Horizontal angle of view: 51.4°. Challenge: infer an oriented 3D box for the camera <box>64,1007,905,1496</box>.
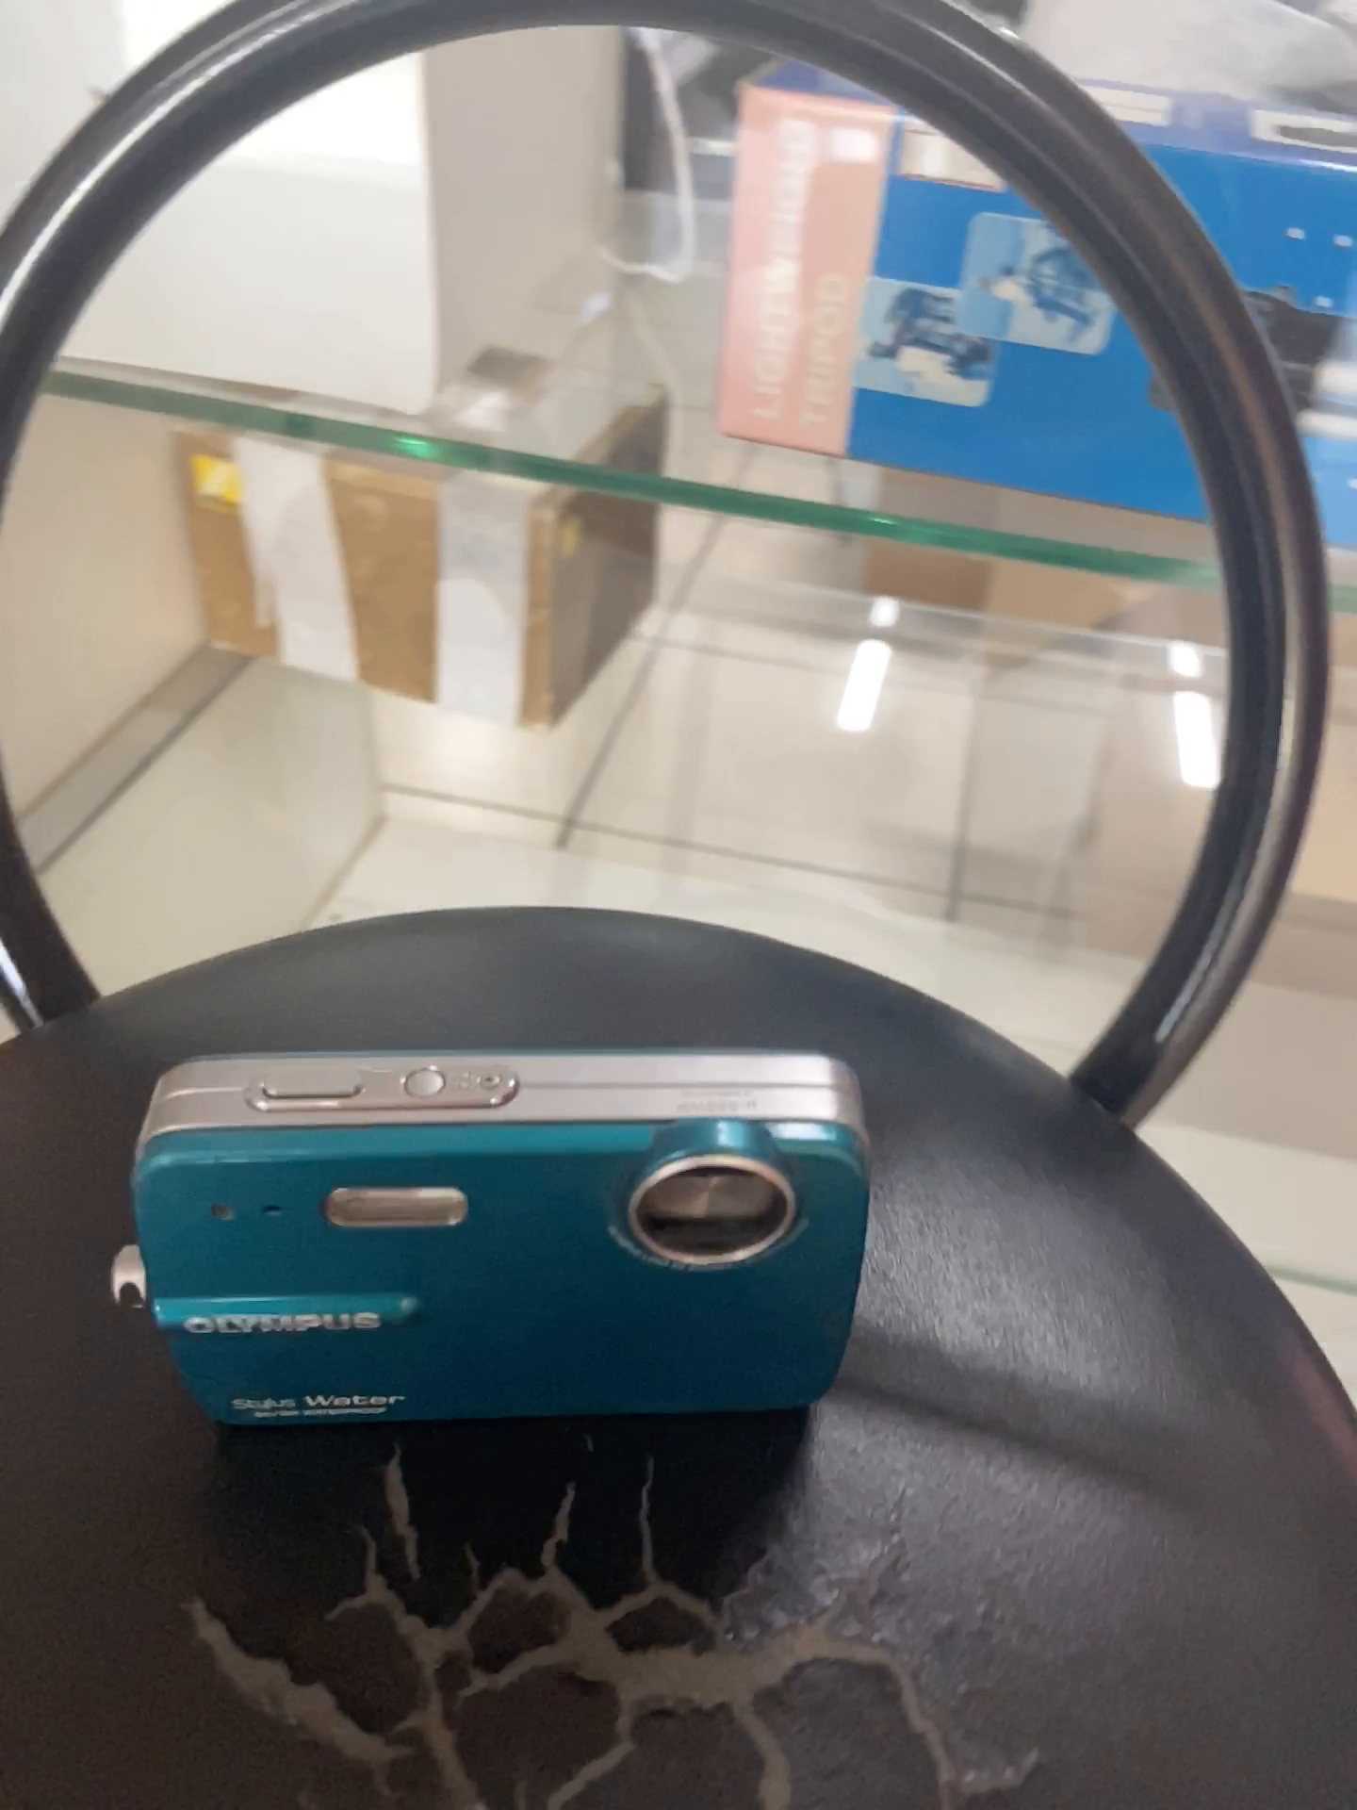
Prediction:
[{"bbox_3d":[-0.025,0.051,0.202,0.100,0.070,0.030,0,39,-5],"label":"camera"}]
